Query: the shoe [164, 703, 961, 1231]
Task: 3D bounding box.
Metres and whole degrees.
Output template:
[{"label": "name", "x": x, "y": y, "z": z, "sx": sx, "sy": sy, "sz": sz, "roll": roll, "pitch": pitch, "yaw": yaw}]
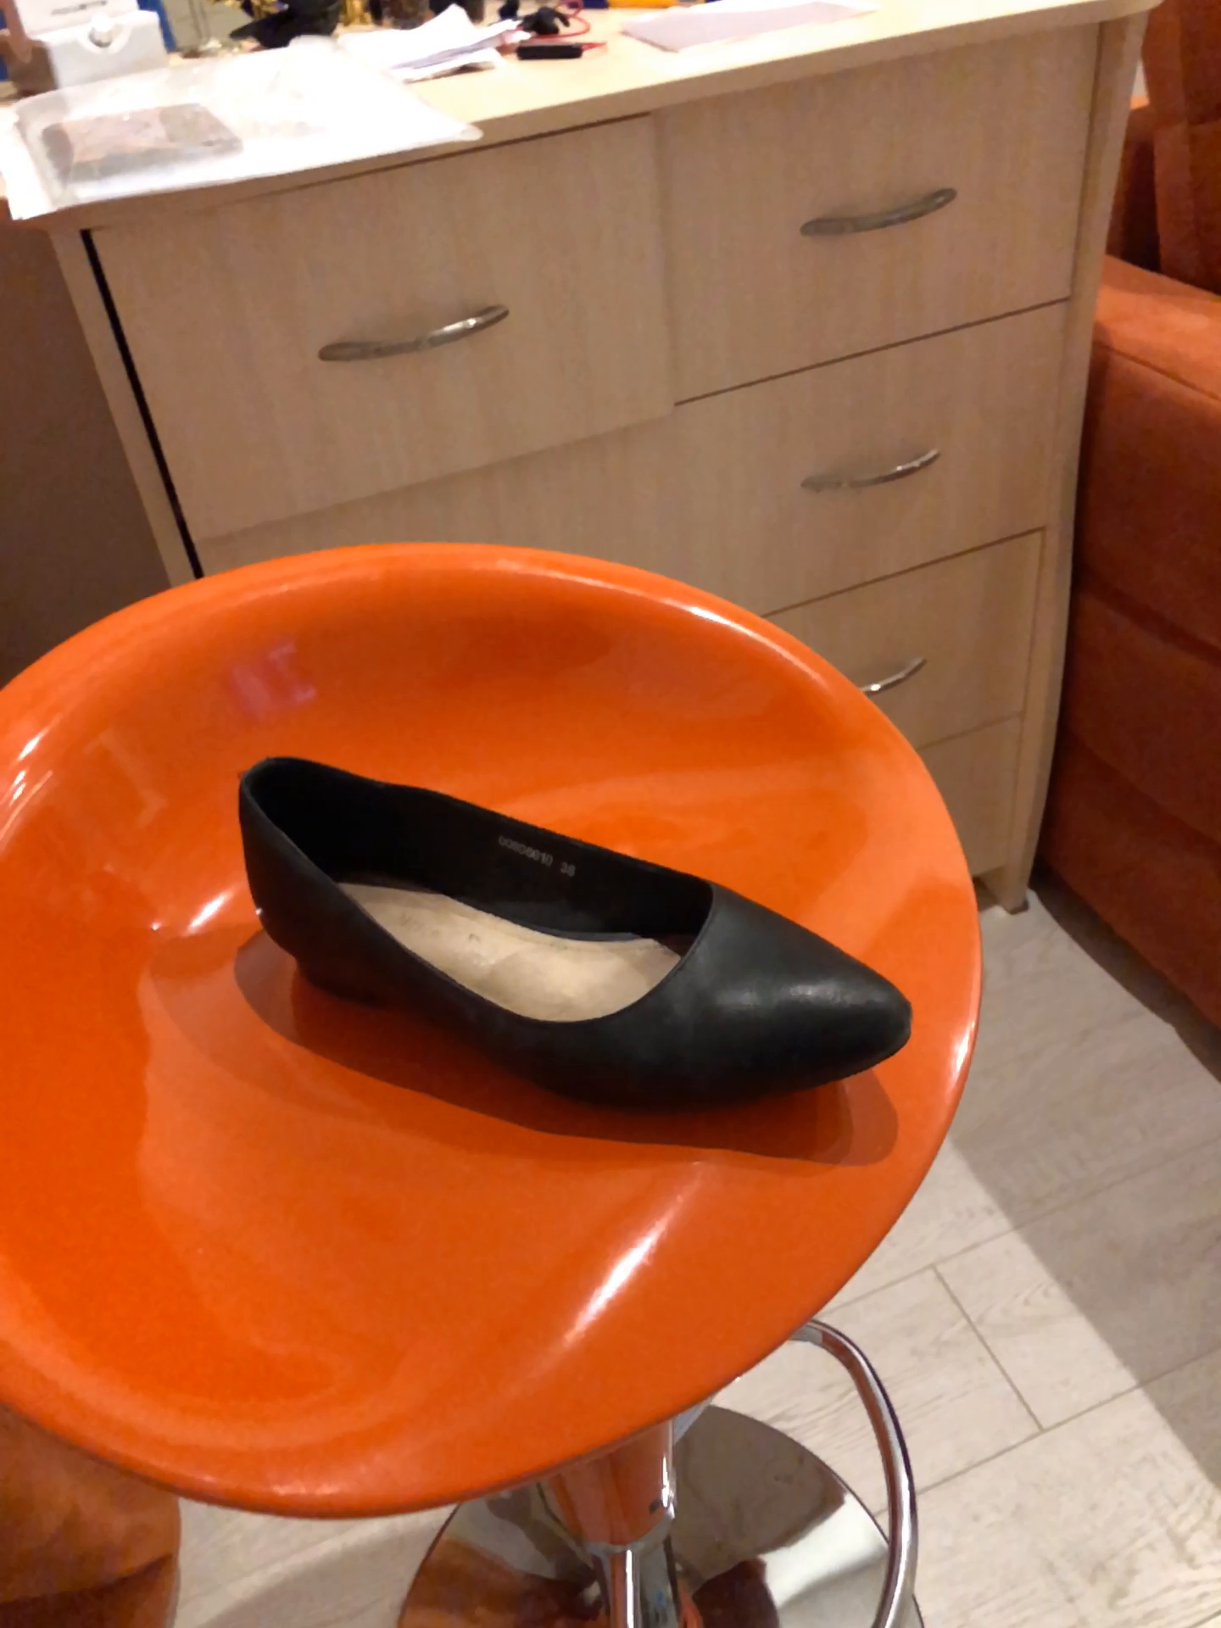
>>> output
[{"label": "shoe", "x": -0.019, "y": 0.042, "z": 0.476, "sx": 0.260, "sy": 0.079, "sz": 0.091, "roll": 14, "pitch": 44, "yaw": 25}]
